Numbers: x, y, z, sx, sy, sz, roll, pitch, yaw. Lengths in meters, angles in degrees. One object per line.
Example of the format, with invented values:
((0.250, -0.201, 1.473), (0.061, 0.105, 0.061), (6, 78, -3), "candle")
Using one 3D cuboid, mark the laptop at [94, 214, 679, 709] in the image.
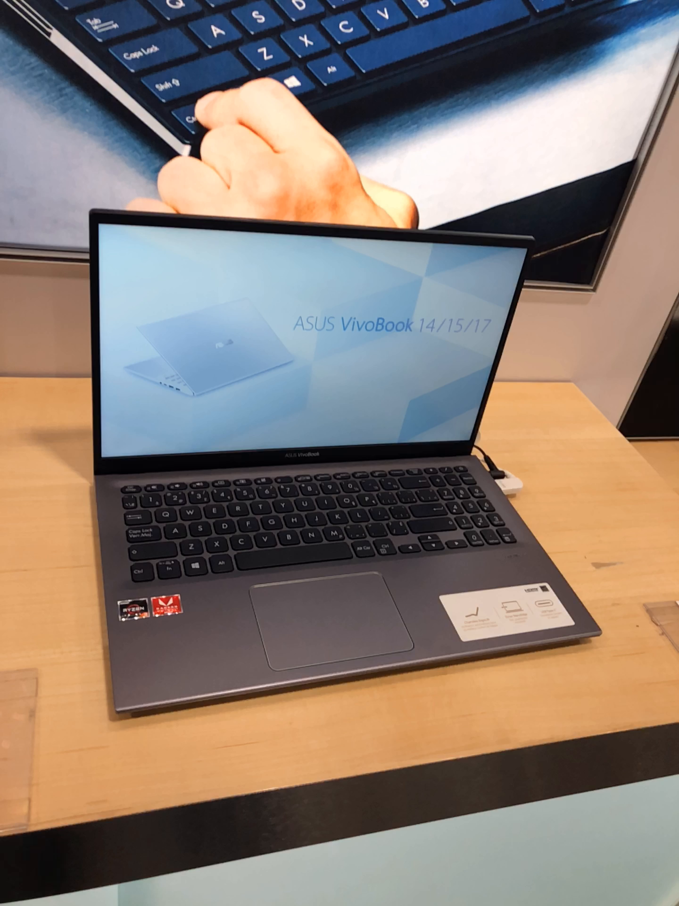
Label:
((0.017, -0.011, 0.529), (0.349, 0.211, 0.242), (-2, 37, -20), "laptop")
